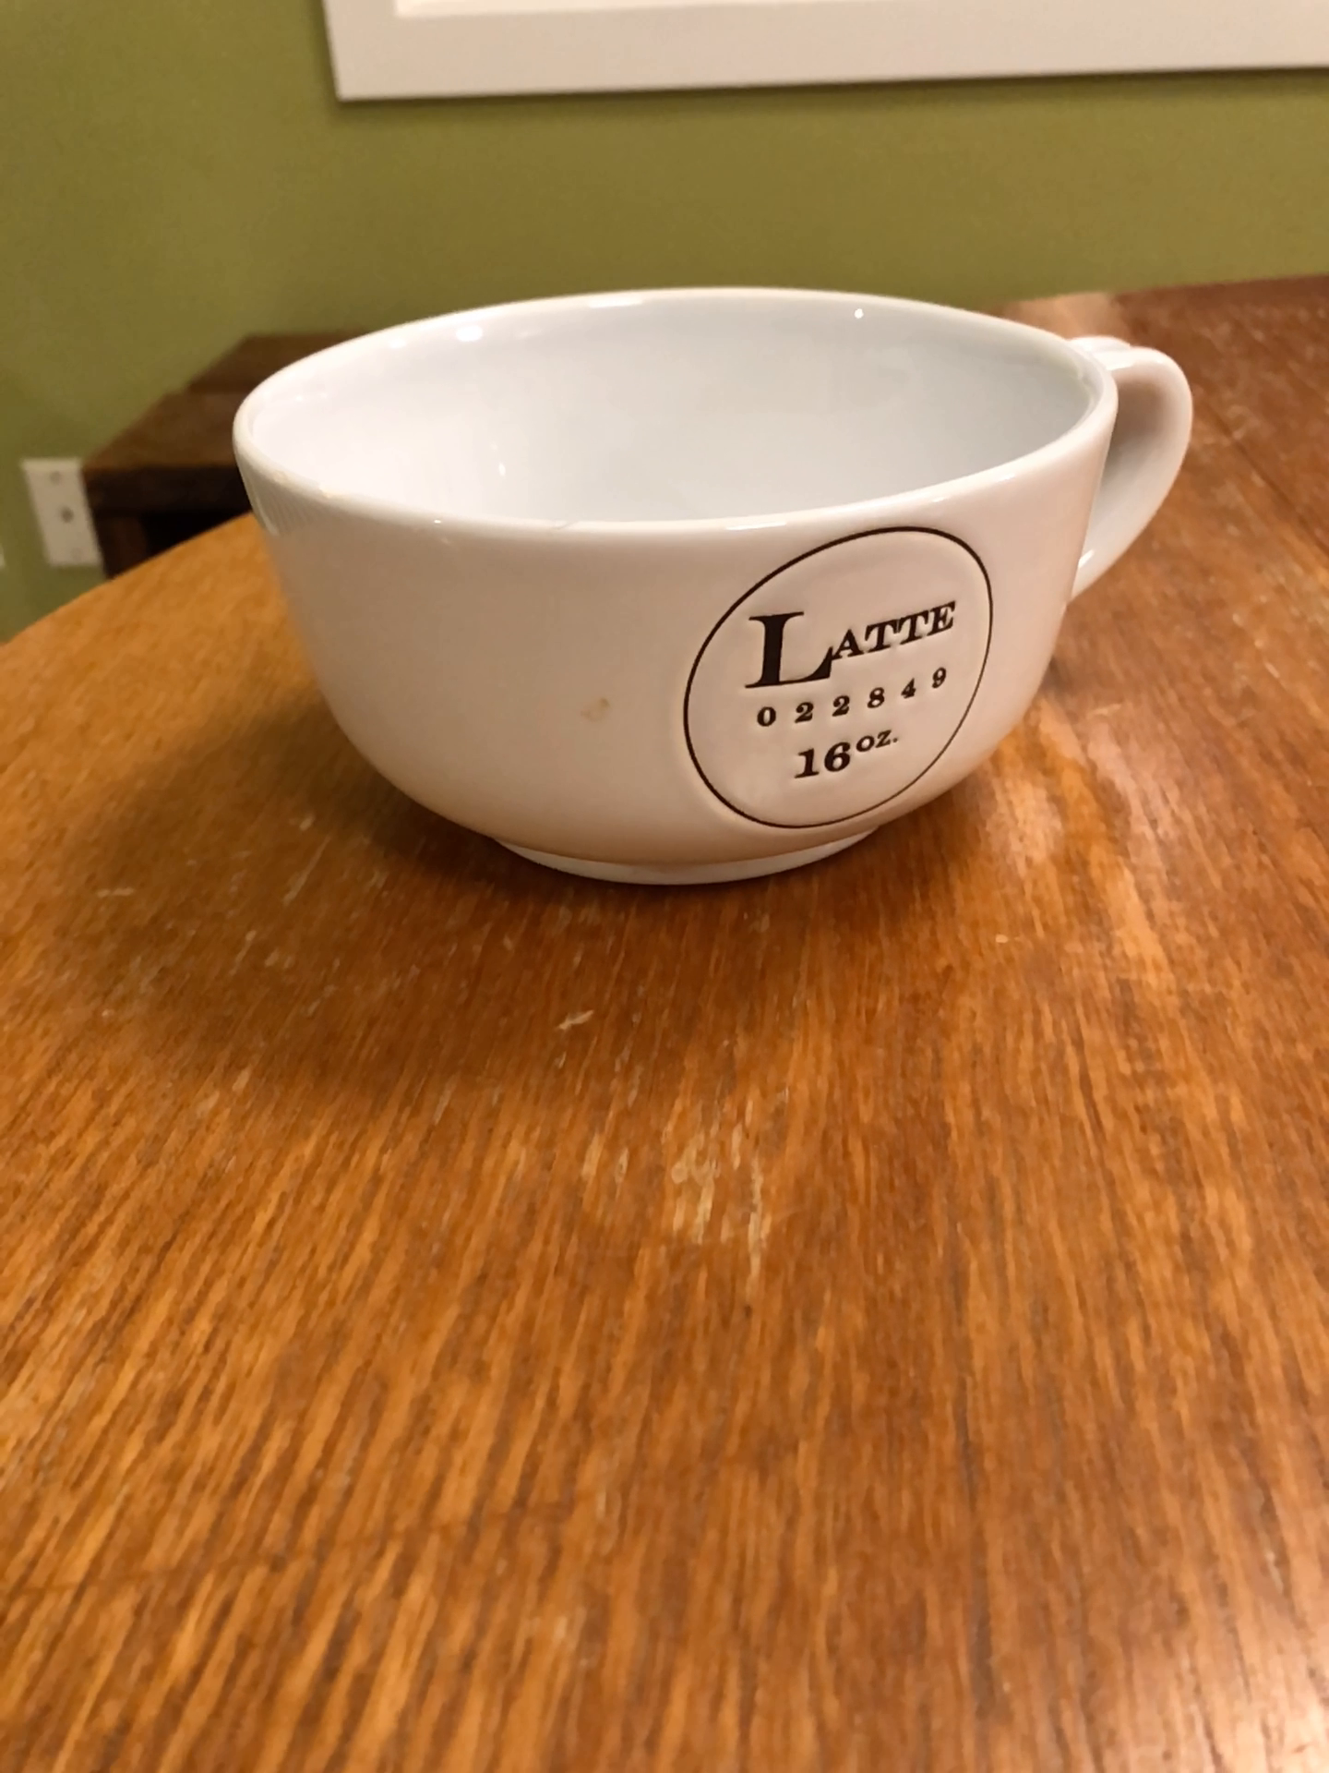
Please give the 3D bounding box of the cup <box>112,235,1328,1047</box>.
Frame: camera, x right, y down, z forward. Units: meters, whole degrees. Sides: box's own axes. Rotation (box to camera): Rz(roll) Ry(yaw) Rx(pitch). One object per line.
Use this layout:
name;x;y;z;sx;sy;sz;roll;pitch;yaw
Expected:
cup;0.021;-0.063;0.257;0.180;0.055;0.139;-22;37;-27
